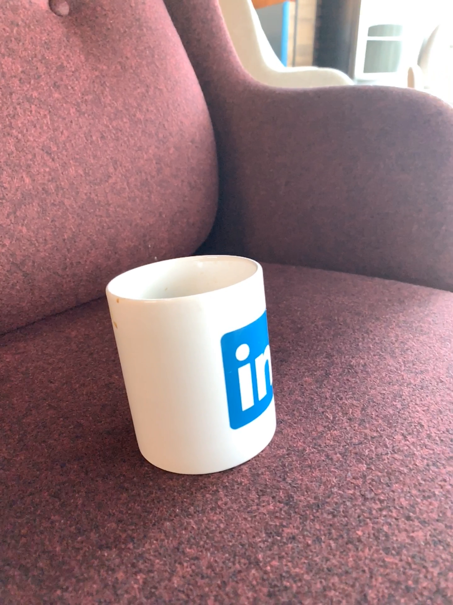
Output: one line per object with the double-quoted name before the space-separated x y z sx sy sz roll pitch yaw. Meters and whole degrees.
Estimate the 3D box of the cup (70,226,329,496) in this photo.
"cup" -0.005 0.018 0.245 0.074 0.089 0.105 6 25 34
